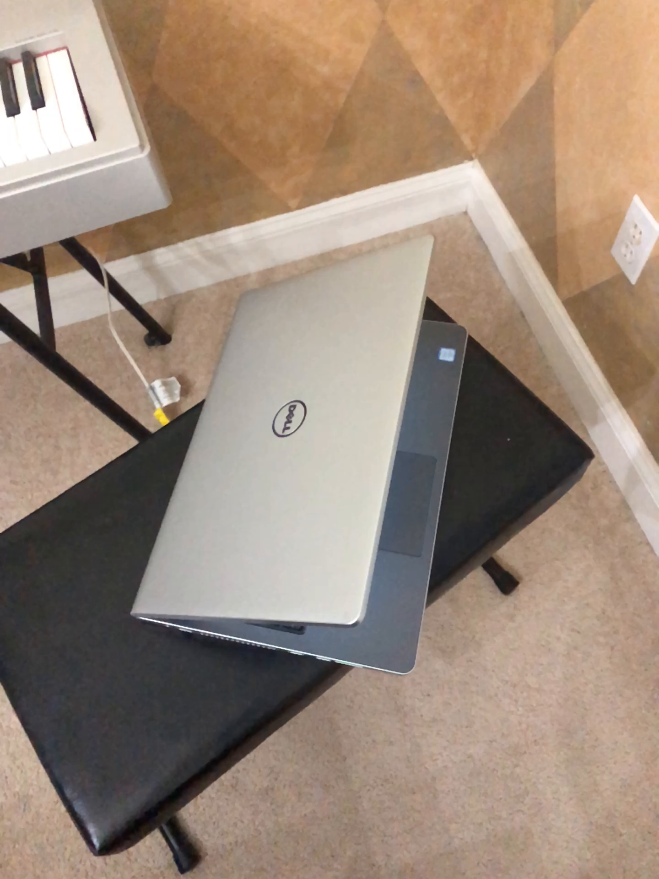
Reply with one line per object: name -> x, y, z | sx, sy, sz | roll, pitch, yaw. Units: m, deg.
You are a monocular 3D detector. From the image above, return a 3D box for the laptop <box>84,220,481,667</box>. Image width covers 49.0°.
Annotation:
laptop -> -0.019, -0.008, 0.690 | 0.261, 0.137, 0.376 | 9, 64, 8
